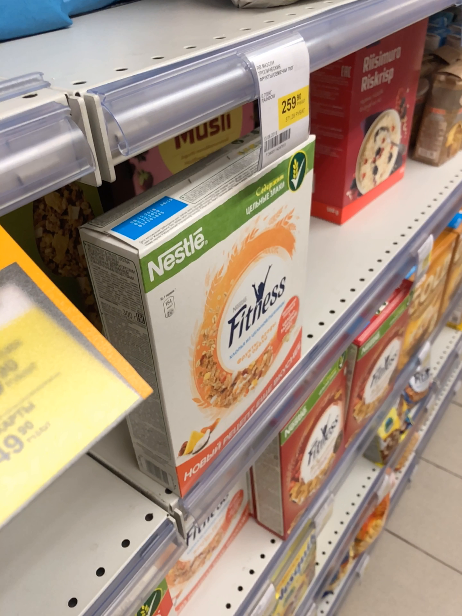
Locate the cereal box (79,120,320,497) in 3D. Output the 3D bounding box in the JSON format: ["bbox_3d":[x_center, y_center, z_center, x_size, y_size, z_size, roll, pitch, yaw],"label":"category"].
[{"bbox_3d":[-0.006,0.001,0.404,0.050,0.229,0.191,22,45,28],"label":"cereal box"}]
